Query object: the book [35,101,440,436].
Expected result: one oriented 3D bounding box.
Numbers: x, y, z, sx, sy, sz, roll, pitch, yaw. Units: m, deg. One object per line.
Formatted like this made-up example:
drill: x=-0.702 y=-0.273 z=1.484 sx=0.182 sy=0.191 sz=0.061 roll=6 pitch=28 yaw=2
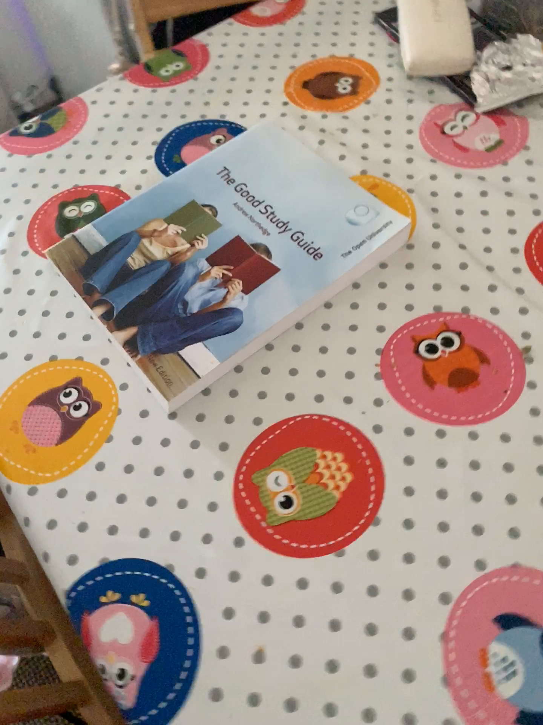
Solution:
book: x=-0.032 y=-0.098 z=0.469 sx=0.260 sy=0.030 sz=0.211 roll=-37 pitch=63 yaw=-14
